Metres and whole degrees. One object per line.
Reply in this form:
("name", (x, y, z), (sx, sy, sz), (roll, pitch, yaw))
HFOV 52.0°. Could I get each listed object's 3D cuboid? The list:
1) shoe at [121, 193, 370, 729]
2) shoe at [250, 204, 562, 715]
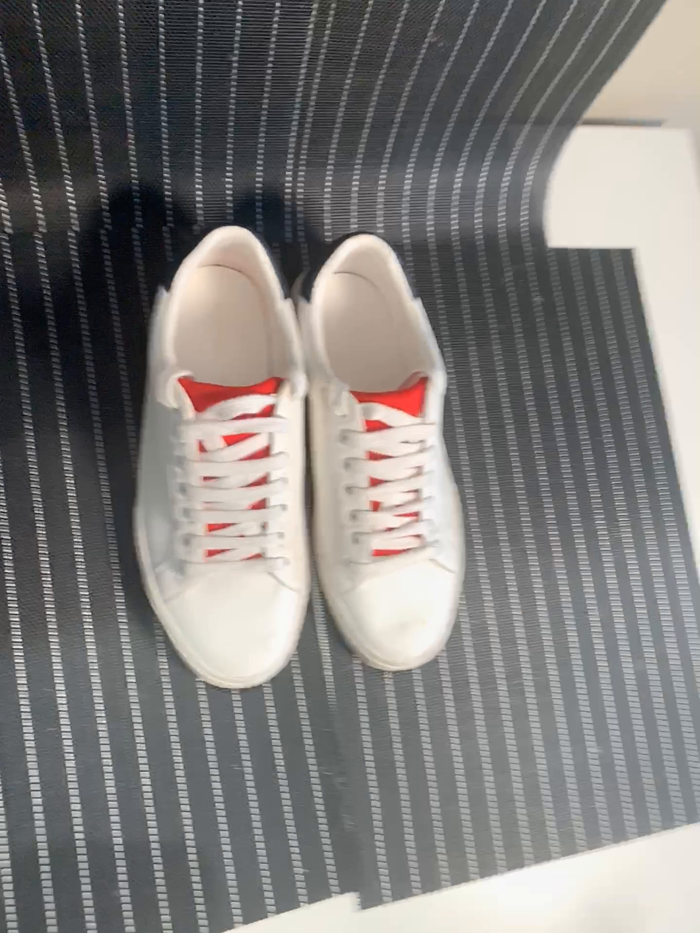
("shoe", (-0.071, -0.006, 0.440), (0.120, 0.090, 0.290), (-2, 80, -16))
("shoe", (0.026, -0.009, 0.464), (0.120, 0.090, 0.290), (-9, 82, -17))
